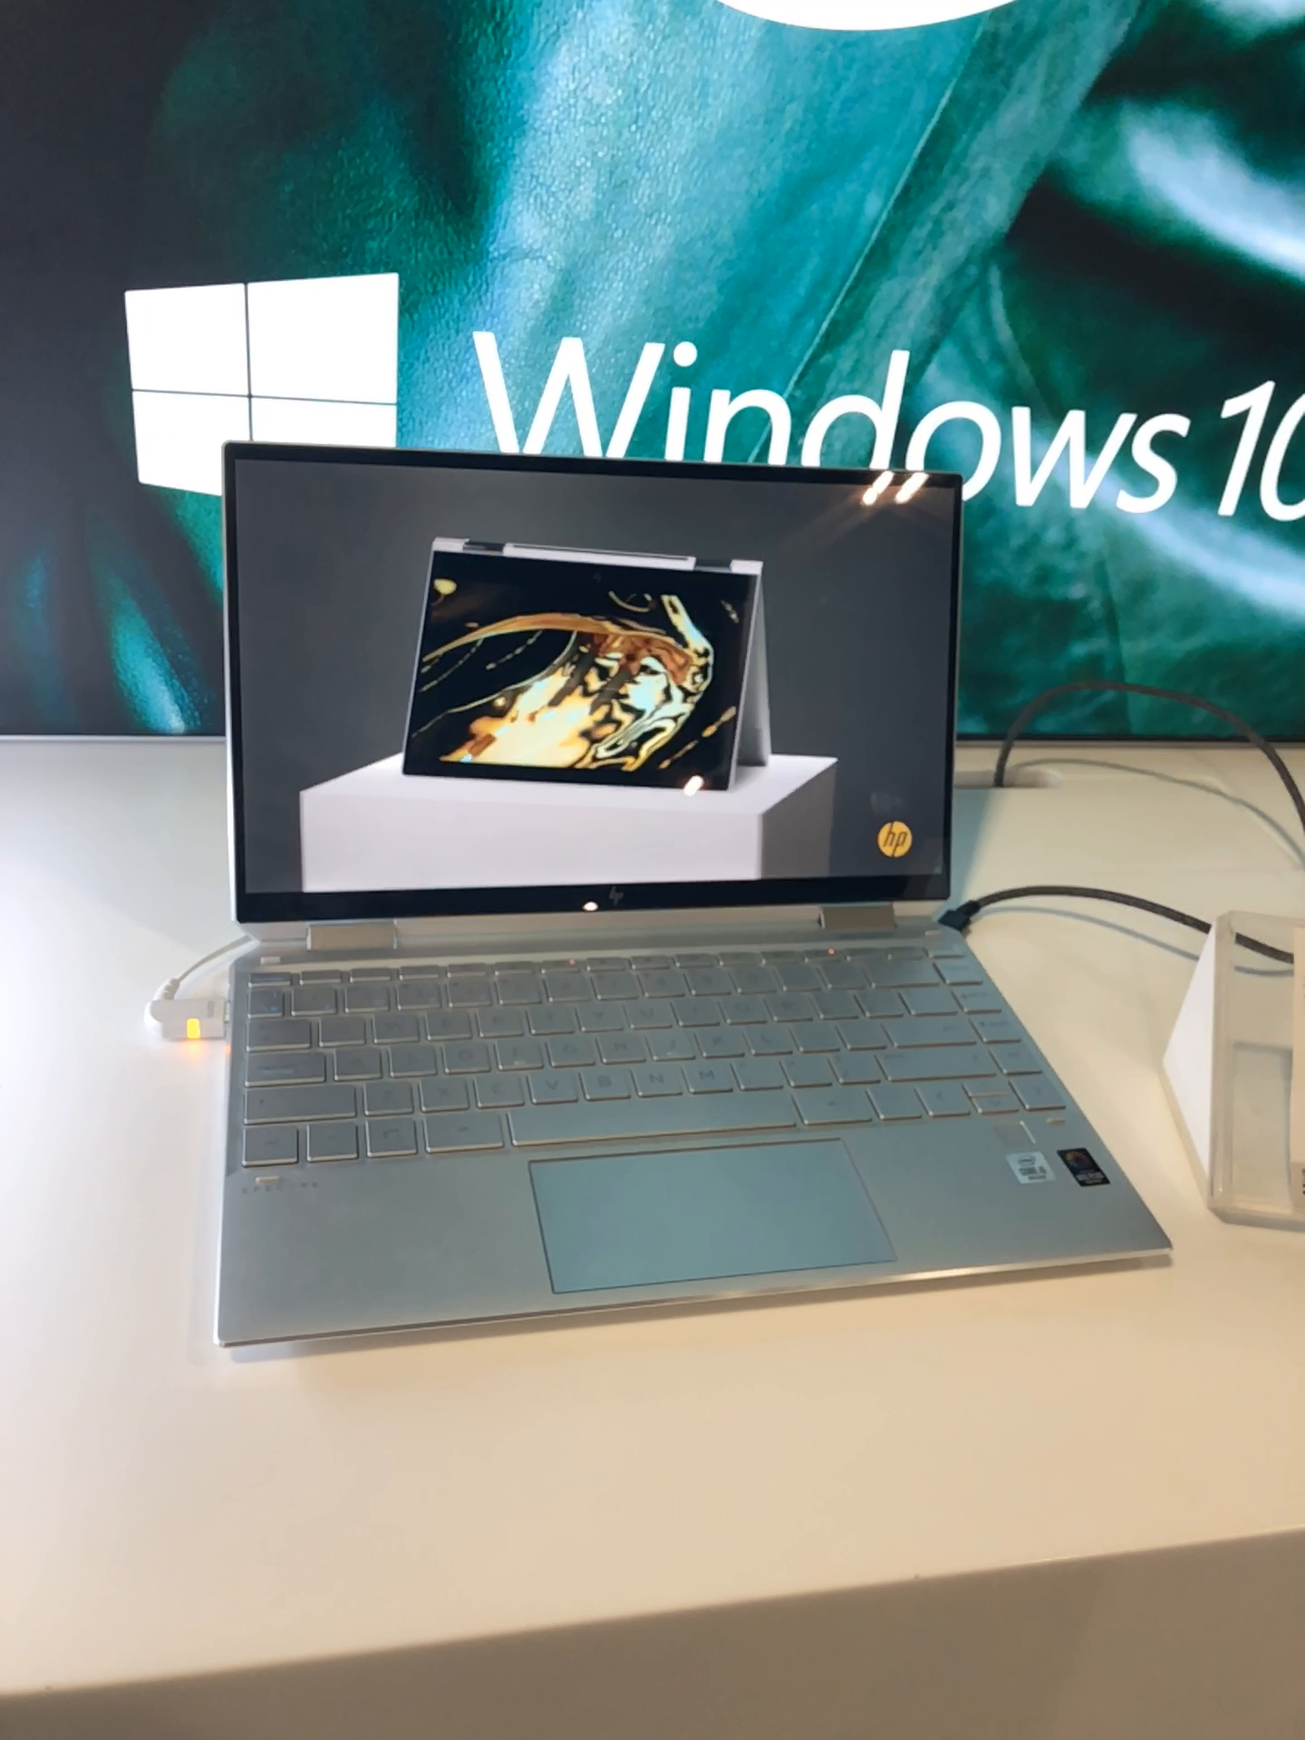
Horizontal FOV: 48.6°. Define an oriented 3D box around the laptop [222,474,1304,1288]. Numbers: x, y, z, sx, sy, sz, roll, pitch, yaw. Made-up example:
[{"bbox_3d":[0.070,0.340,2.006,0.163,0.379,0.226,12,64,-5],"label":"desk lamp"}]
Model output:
[{"bbox_3d":[0.008,-0.013,0.488,0.281,0.195,0.240,-1,26,-15],"label":"laptop"}]
